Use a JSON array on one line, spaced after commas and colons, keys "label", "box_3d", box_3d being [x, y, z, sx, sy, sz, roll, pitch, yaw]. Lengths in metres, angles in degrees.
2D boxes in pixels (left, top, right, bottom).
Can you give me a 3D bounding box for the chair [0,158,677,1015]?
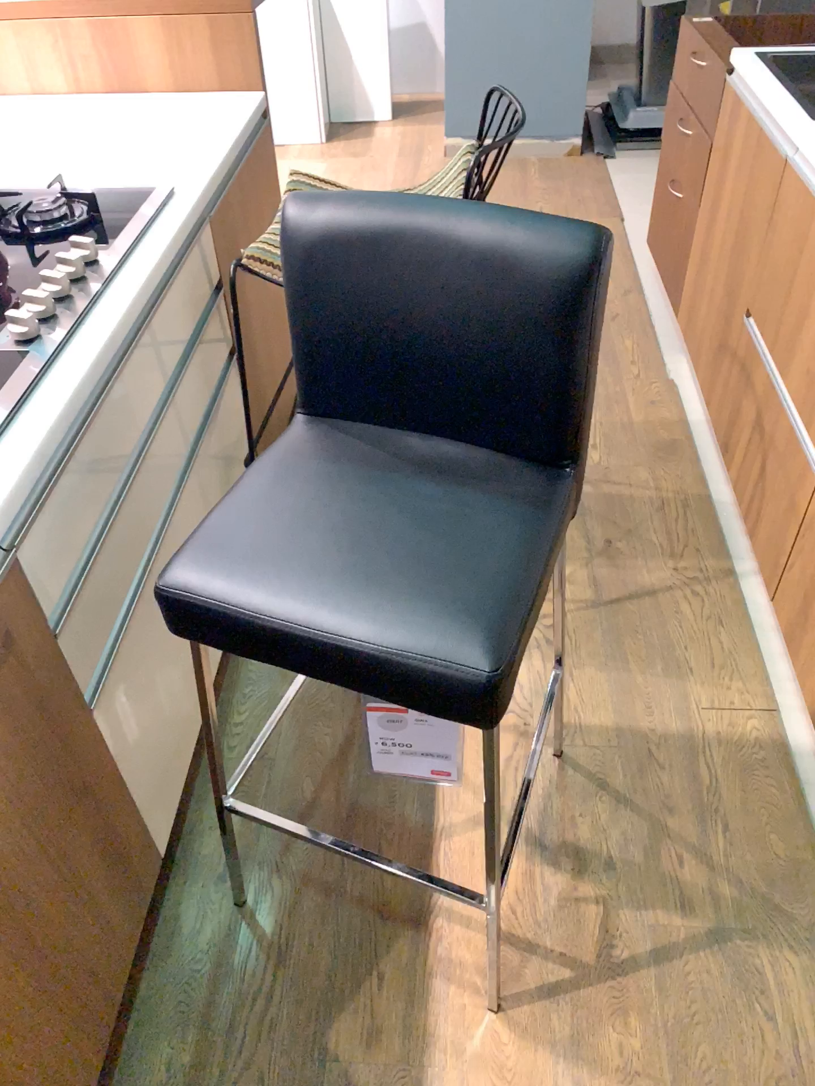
[{"label": "chair", "box_3d": [-0.011, 0.110, 1.154, 0.500, 1.026, 0.521, 13, 45, 17]}]
